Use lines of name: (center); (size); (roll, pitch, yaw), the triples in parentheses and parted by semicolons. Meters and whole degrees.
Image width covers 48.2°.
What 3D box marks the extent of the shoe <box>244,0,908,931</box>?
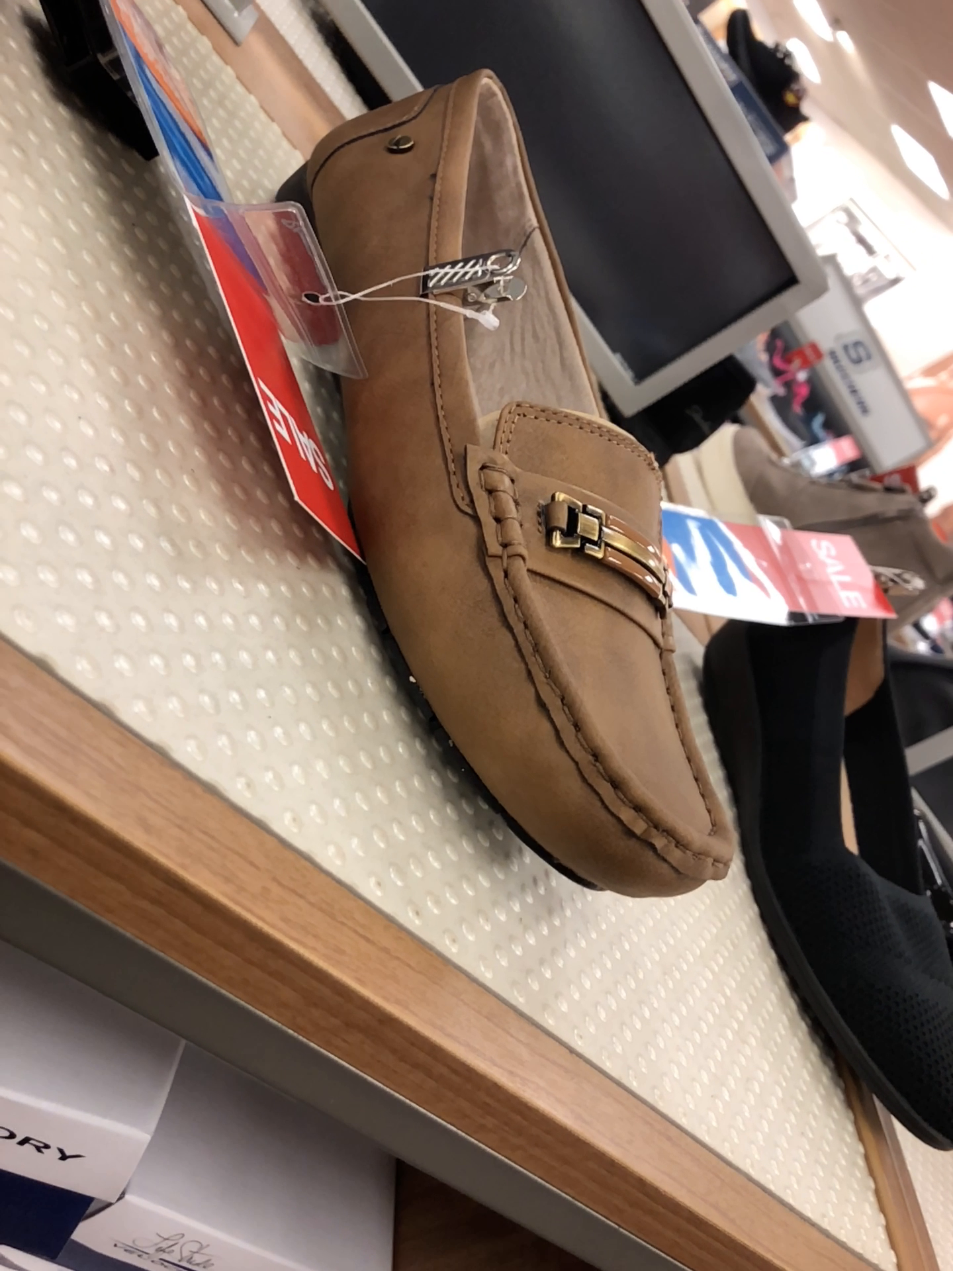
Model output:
shoe: (0.019, -0.047, 0.296); (0.087, 0.079, 0.235); (24, 41, -56)
